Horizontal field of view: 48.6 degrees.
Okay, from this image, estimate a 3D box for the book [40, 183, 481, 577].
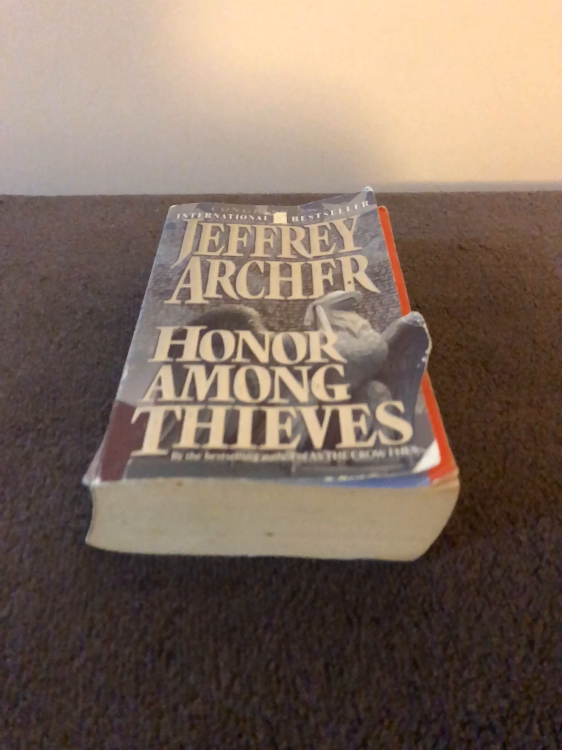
[{"bbox_3d":[-0.005,-0.016,0.254,0.120,0.040,0.191,3,41,-2],"label":"book"}]
